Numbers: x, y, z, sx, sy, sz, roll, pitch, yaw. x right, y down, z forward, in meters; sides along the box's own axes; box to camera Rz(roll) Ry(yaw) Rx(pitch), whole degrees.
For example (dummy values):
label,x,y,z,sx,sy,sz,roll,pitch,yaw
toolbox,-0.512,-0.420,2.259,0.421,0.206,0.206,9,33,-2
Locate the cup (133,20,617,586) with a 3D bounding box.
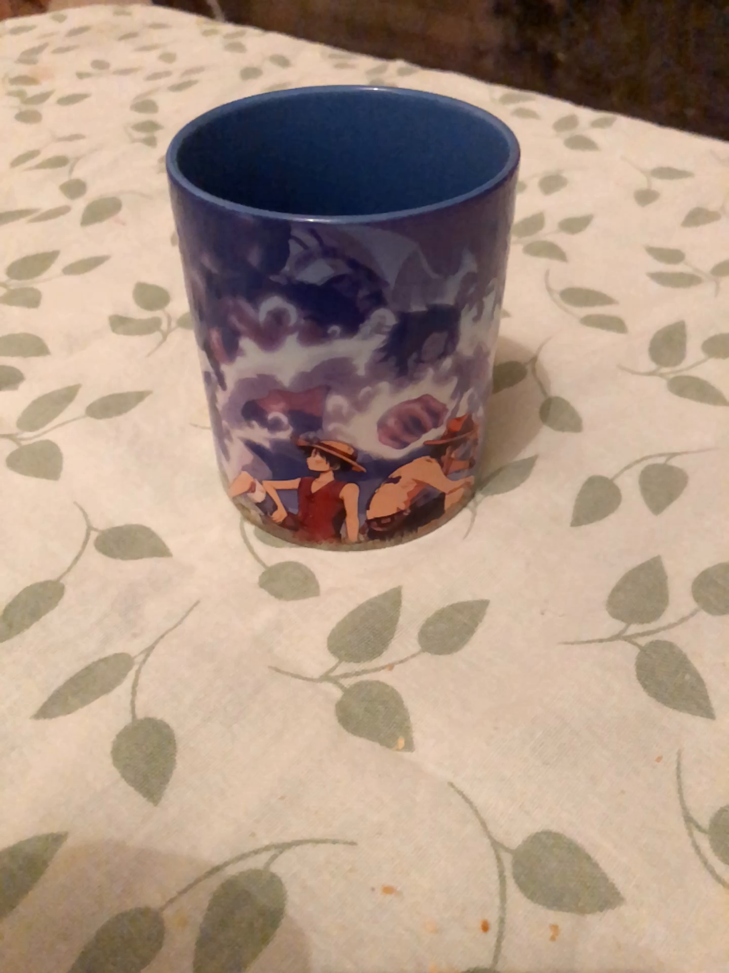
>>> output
label,x,y,z,sx,sy,sz,roll,pitch,yaw
cup,-0.007,-0.058,0.231,0.090,0.099,0.121,-10,43,-10
